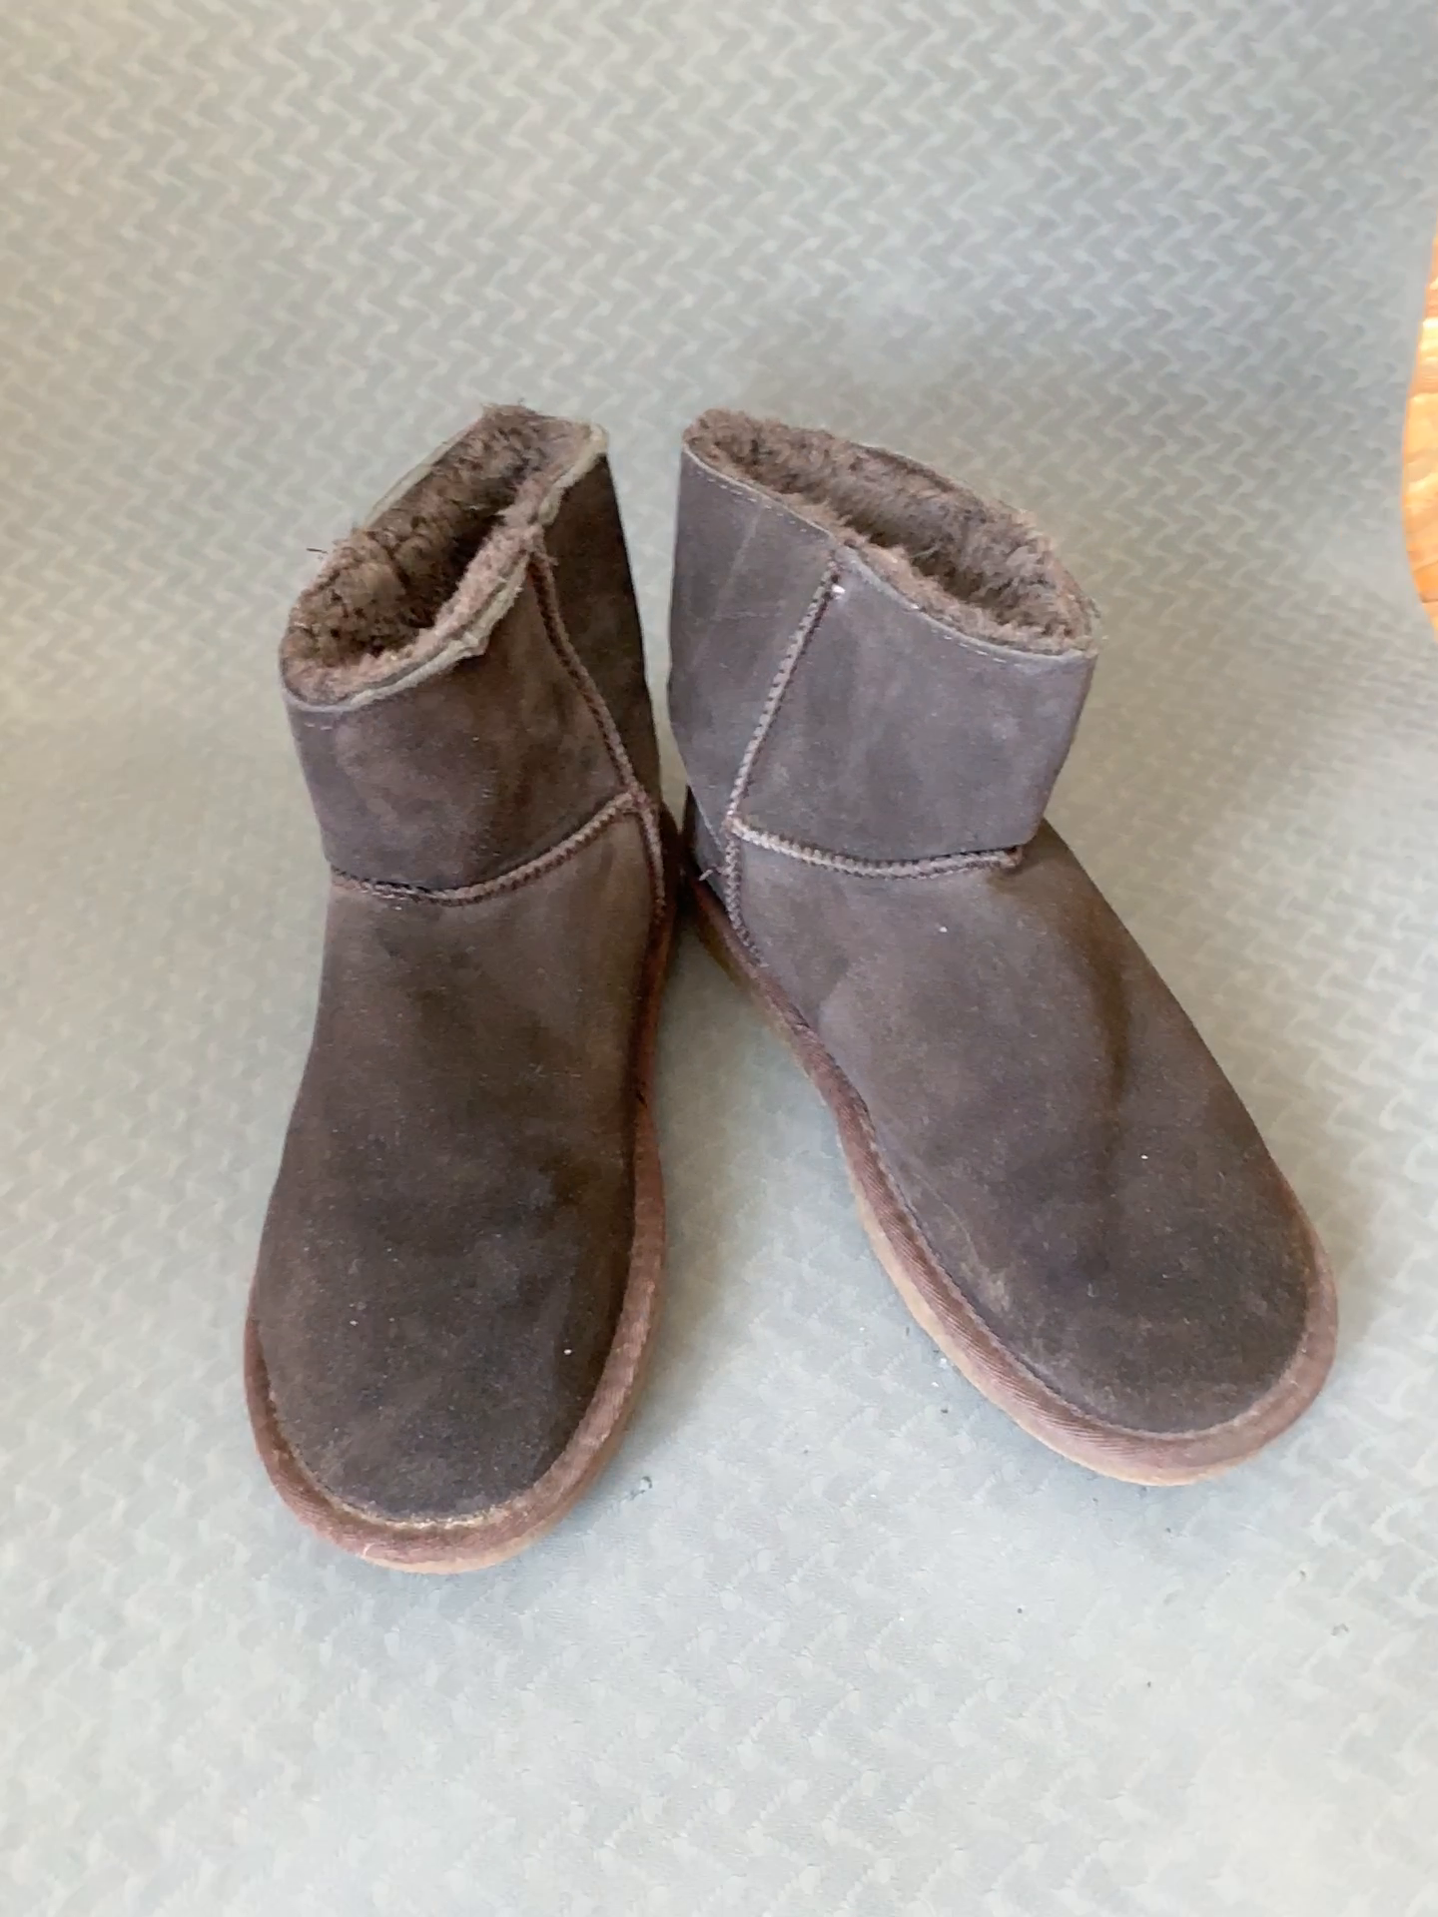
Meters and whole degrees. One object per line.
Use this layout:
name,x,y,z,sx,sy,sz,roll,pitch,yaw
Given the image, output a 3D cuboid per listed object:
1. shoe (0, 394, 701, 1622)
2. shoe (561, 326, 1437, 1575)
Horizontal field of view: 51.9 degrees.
shoe,-0.062,-0.001,0.346,0.100,0.139,0.254,1,50,2
shoe,0.065,-0.016,0.352,0.100,0.139,0.254,-22,53,-16
